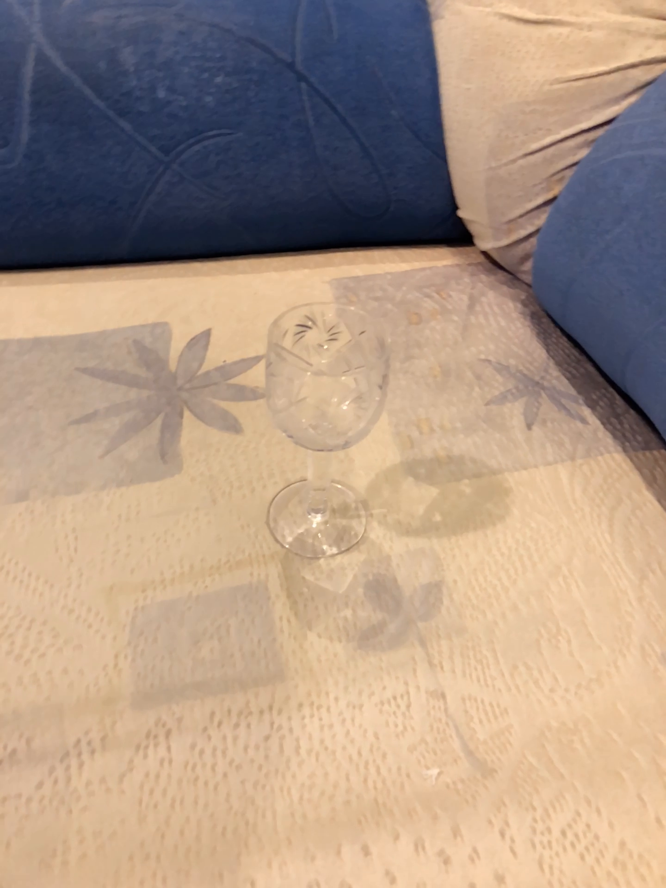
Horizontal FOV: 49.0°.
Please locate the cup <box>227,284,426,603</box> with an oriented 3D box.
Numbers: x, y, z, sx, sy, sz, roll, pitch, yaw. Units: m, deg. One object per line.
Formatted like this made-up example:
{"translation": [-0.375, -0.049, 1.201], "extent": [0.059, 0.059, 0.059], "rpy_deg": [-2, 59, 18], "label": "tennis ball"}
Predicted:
{"translation": [-0.004, 0.002, 0.326], "extent": [0.060, 0.119, 0.060], "rpy_deg": [2, 43, -2], "label": "cup"}
